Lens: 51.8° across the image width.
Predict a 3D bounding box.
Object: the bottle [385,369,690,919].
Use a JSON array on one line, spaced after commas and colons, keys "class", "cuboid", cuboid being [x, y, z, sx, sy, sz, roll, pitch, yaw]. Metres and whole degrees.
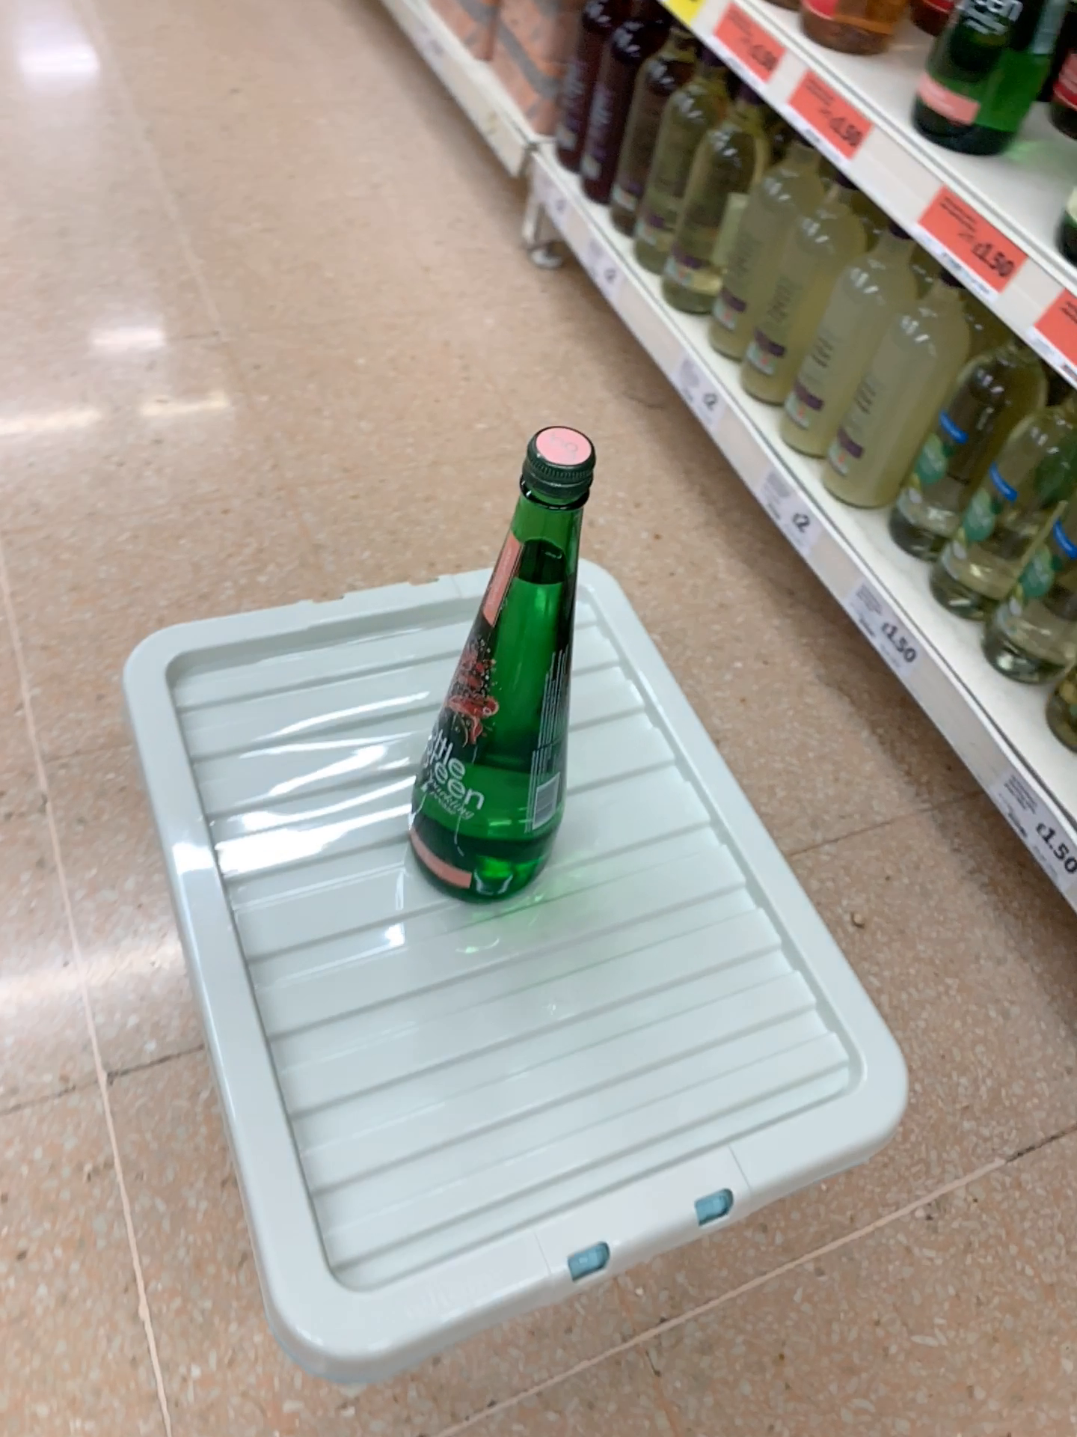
[{"class": "bottle", "cuboid": [-0.017, -0.019, 0.552, 0.085, 0.287, 0.091, 5, 51, -6]}]
